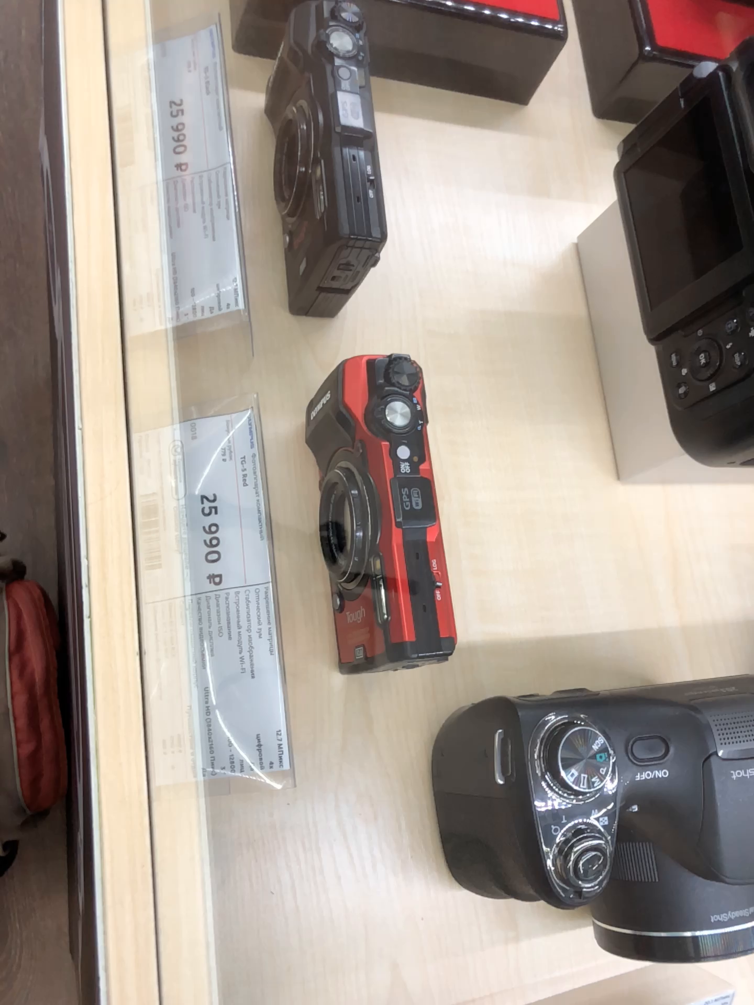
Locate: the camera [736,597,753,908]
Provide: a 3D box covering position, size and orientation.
[{"bbox_3d":[0.268,0.106,0.381,0.158,0.086,0.102,-2,75,-22],"label":"camera"}]

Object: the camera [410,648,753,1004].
[{"bbox_3d":[0.086,0.109,0.304,0.117,0.078,0.094,-1,75,-21],"label":"camera"}]

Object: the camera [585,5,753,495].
[{"bbox_3d":[0.171,-0.085,0.324,0.127,0.086,0.147,0,75,-21],"label":"camera"}]

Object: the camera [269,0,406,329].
[{"bbox_3d":[-0.020,-0.142,0.357,0.030,0.061,0.117,-1,75,-21],"label":"camera"}]

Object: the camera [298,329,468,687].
[{"bbox_3d":[-0.002,0.005,0.309,0.030,0.061,0.119,-1,75,-21],"label":"camera"}]
